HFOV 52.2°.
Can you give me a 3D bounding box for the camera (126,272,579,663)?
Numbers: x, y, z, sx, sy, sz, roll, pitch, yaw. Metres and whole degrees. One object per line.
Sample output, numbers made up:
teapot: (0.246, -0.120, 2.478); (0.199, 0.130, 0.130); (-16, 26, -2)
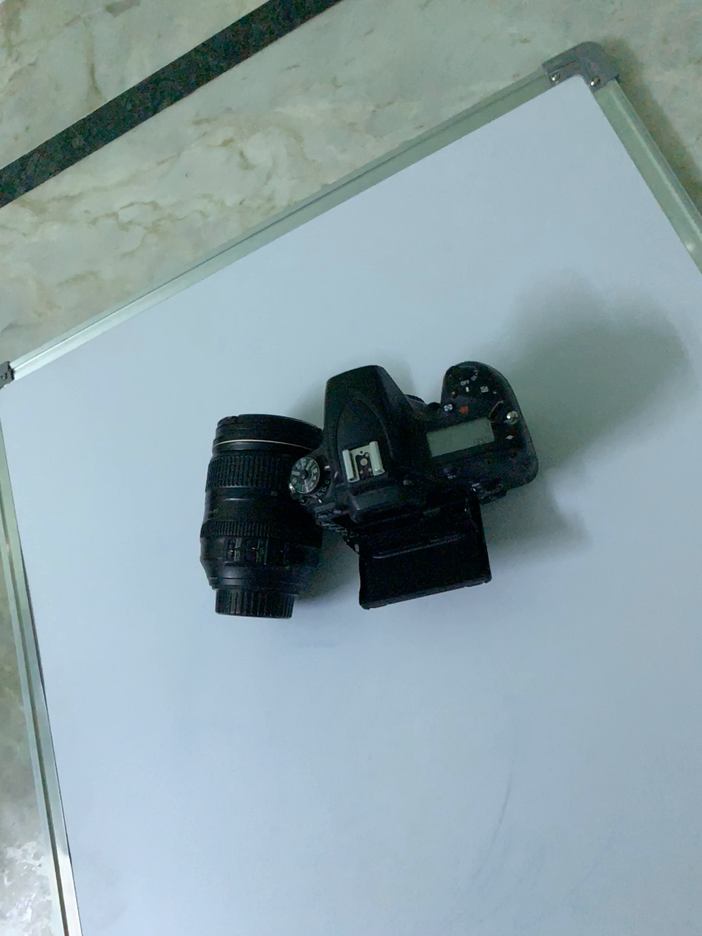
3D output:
camera: (-0.003, 0.013, 0.461); (0.241, 0.100, 0.160); (-20, 70, 15)
